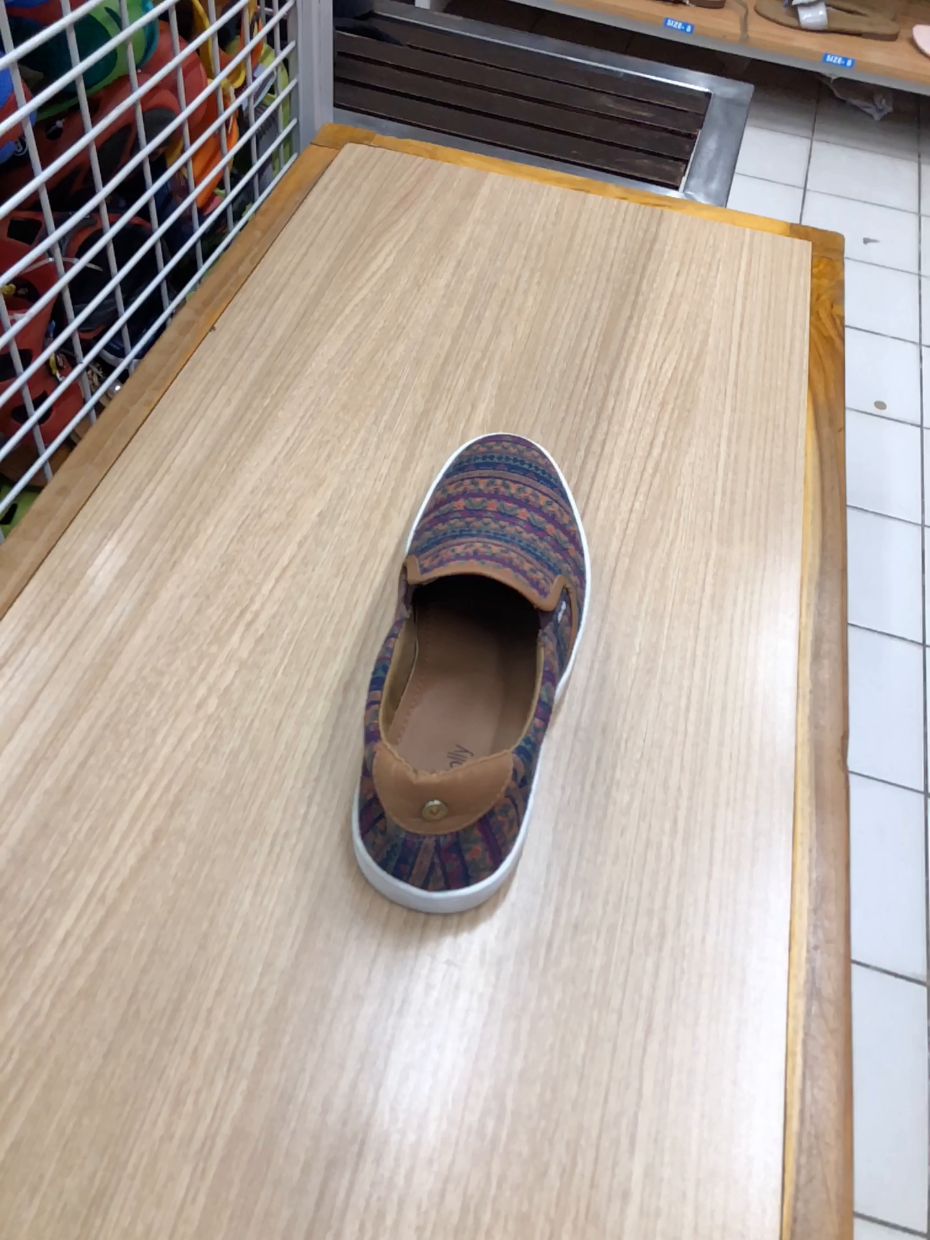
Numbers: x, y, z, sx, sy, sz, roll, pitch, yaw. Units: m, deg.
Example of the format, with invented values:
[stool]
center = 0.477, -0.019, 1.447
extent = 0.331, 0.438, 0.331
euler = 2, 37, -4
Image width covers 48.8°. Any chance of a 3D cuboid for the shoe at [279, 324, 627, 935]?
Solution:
[shoe]
center = 0.005, -0.012, 0.470
extent = 0.100, 0.089, 0.272
euler = 11, 50, 2
